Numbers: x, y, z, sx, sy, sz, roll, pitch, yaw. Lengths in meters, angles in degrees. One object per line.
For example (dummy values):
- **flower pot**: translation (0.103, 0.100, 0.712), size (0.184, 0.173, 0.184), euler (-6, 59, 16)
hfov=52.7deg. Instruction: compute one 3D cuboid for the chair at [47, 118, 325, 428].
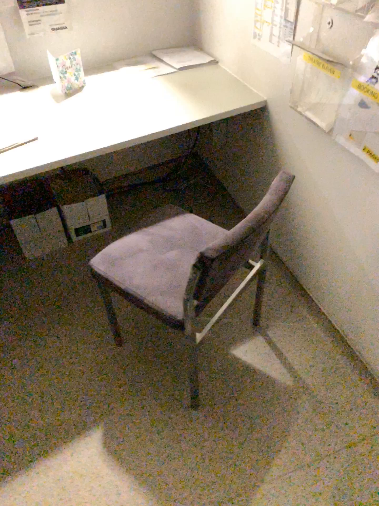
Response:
- **chair**: translation (0.010, 0.044, 1.275), size (0.542, 0.693, 0.543), euler (26, 49, 28)
